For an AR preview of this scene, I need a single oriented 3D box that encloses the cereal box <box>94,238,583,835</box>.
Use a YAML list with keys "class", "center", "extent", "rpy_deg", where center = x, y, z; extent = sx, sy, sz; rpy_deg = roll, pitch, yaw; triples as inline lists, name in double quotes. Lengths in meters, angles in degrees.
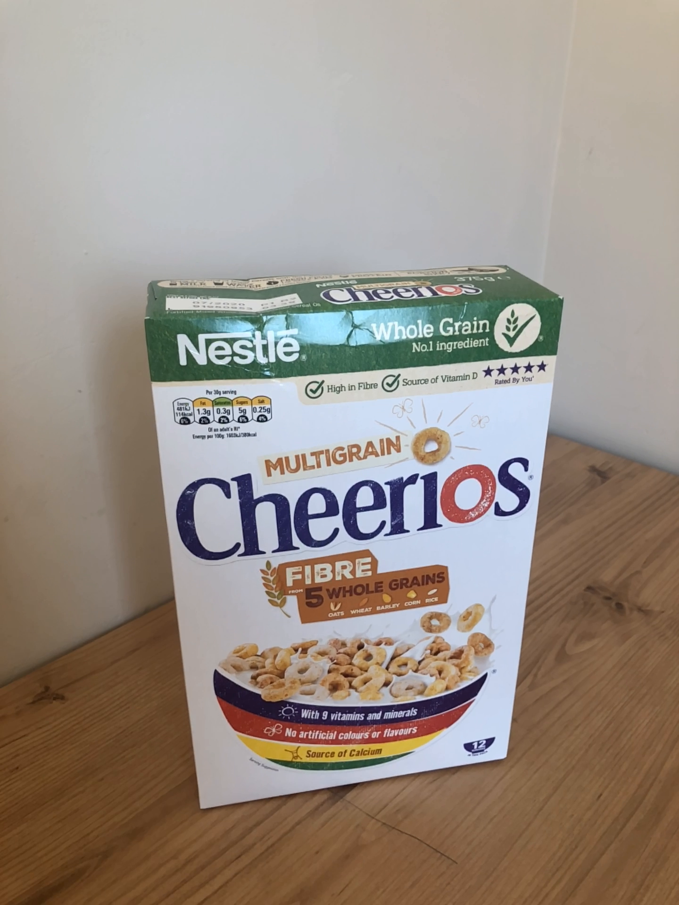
- class: "cereal box"
  center: [-0.002, 0.050, 0.416]
  extent: [0.210, 0.308, 0.080]
  rpy_deg: [-5, 25, -11]
